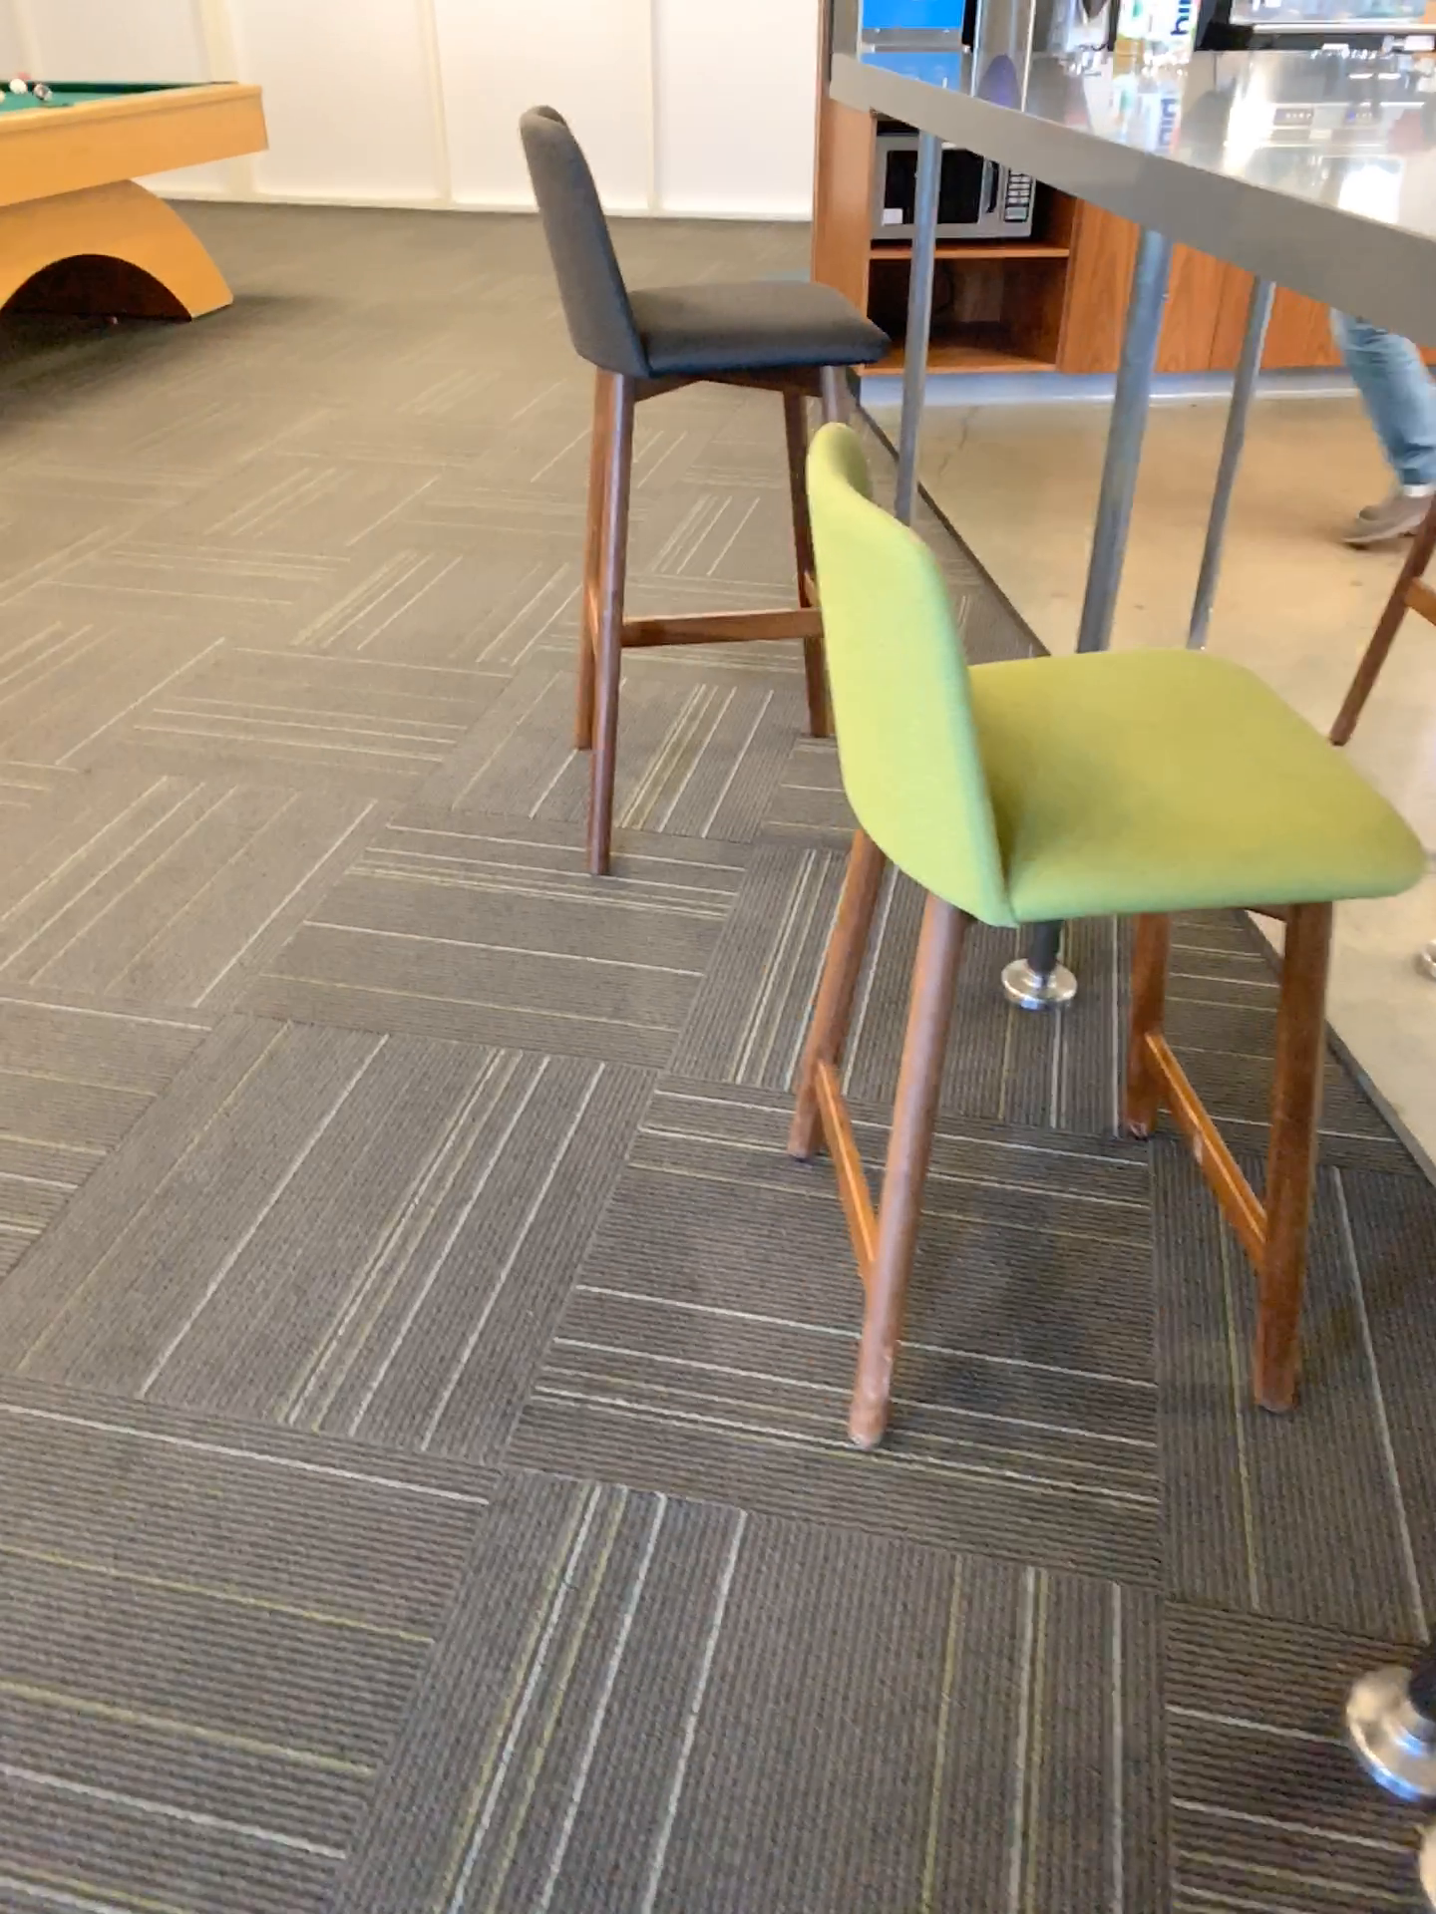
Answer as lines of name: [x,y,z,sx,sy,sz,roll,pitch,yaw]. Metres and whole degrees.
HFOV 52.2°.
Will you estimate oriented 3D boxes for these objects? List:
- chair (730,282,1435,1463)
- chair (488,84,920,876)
chair: [0.299,-0.083,1.362,0.480,0.874,0.594,-5,34,-2]
chair: [-0.033,-0.777,2.302,0.500,0.944,0.856,-6,34,-3]
